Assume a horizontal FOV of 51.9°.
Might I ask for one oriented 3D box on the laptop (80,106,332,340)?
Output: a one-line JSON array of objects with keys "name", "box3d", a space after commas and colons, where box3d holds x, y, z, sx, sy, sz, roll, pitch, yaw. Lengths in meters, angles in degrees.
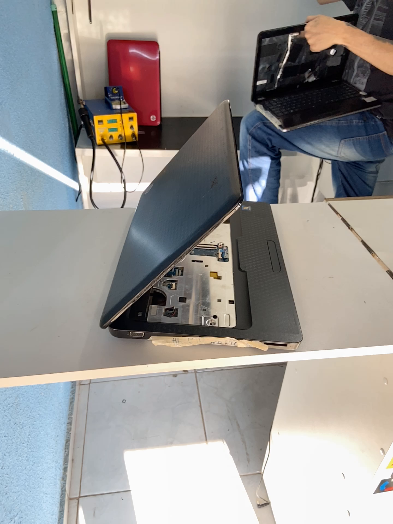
[{"name": "laptop", "box3d": [0.012, -0.078, 0.533, 0.222, 0.153, 0.329, 3, 35, 0]}]
